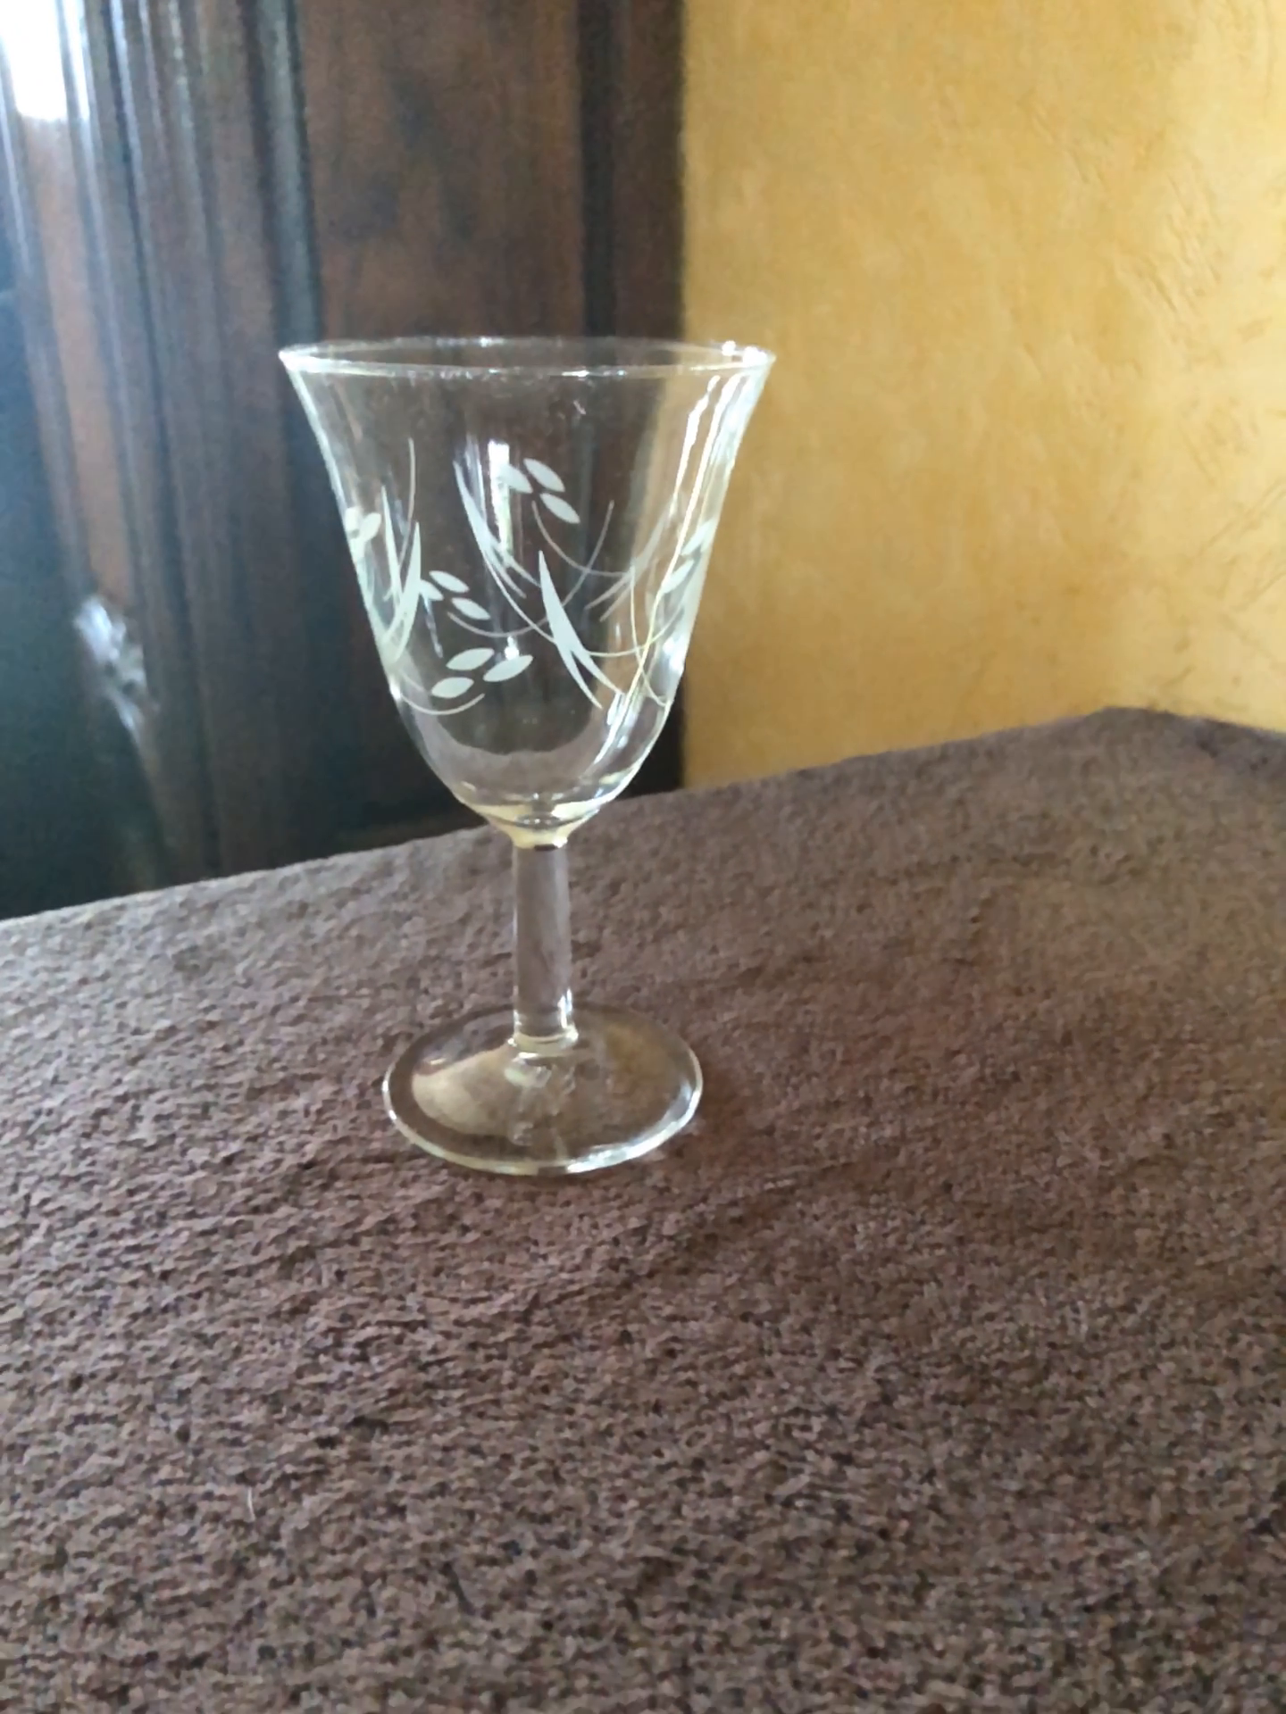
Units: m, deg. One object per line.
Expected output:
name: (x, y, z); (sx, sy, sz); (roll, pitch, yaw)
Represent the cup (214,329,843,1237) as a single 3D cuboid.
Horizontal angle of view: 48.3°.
cup: (-0.018, -0.020, 0.275); (0.090, 0.149, 0.090); (-1, 22, 0)
